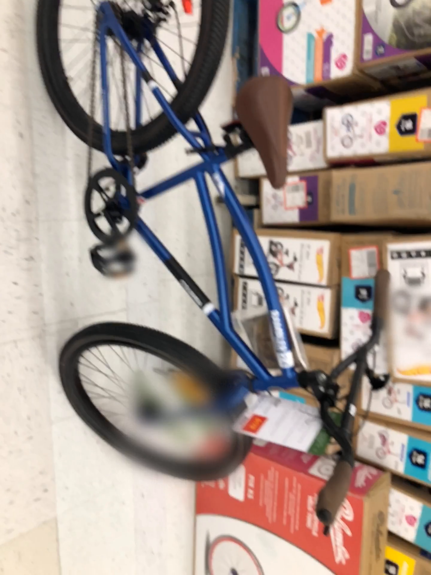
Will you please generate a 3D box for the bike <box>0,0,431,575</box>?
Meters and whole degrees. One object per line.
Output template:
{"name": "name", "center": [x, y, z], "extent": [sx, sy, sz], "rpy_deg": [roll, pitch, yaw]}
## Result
{"name": "bike", "center": [0.006, -0.147, 1.185], "extent": [0.652, 0.928, 1.553], "rpy_deg": [-22, 111, -47]}
